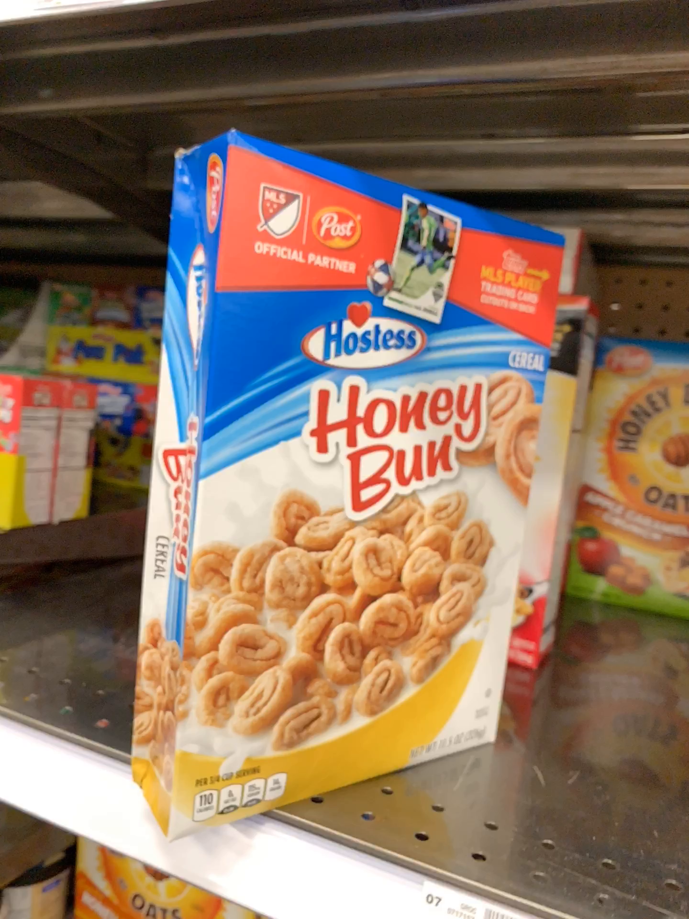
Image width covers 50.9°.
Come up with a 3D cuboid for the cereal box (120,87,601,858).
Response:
[{"bbox_3d":[0.014,0.010,0.342,0.200,0.280,0.060,2,6,-35],"label":"cereal box"}]
